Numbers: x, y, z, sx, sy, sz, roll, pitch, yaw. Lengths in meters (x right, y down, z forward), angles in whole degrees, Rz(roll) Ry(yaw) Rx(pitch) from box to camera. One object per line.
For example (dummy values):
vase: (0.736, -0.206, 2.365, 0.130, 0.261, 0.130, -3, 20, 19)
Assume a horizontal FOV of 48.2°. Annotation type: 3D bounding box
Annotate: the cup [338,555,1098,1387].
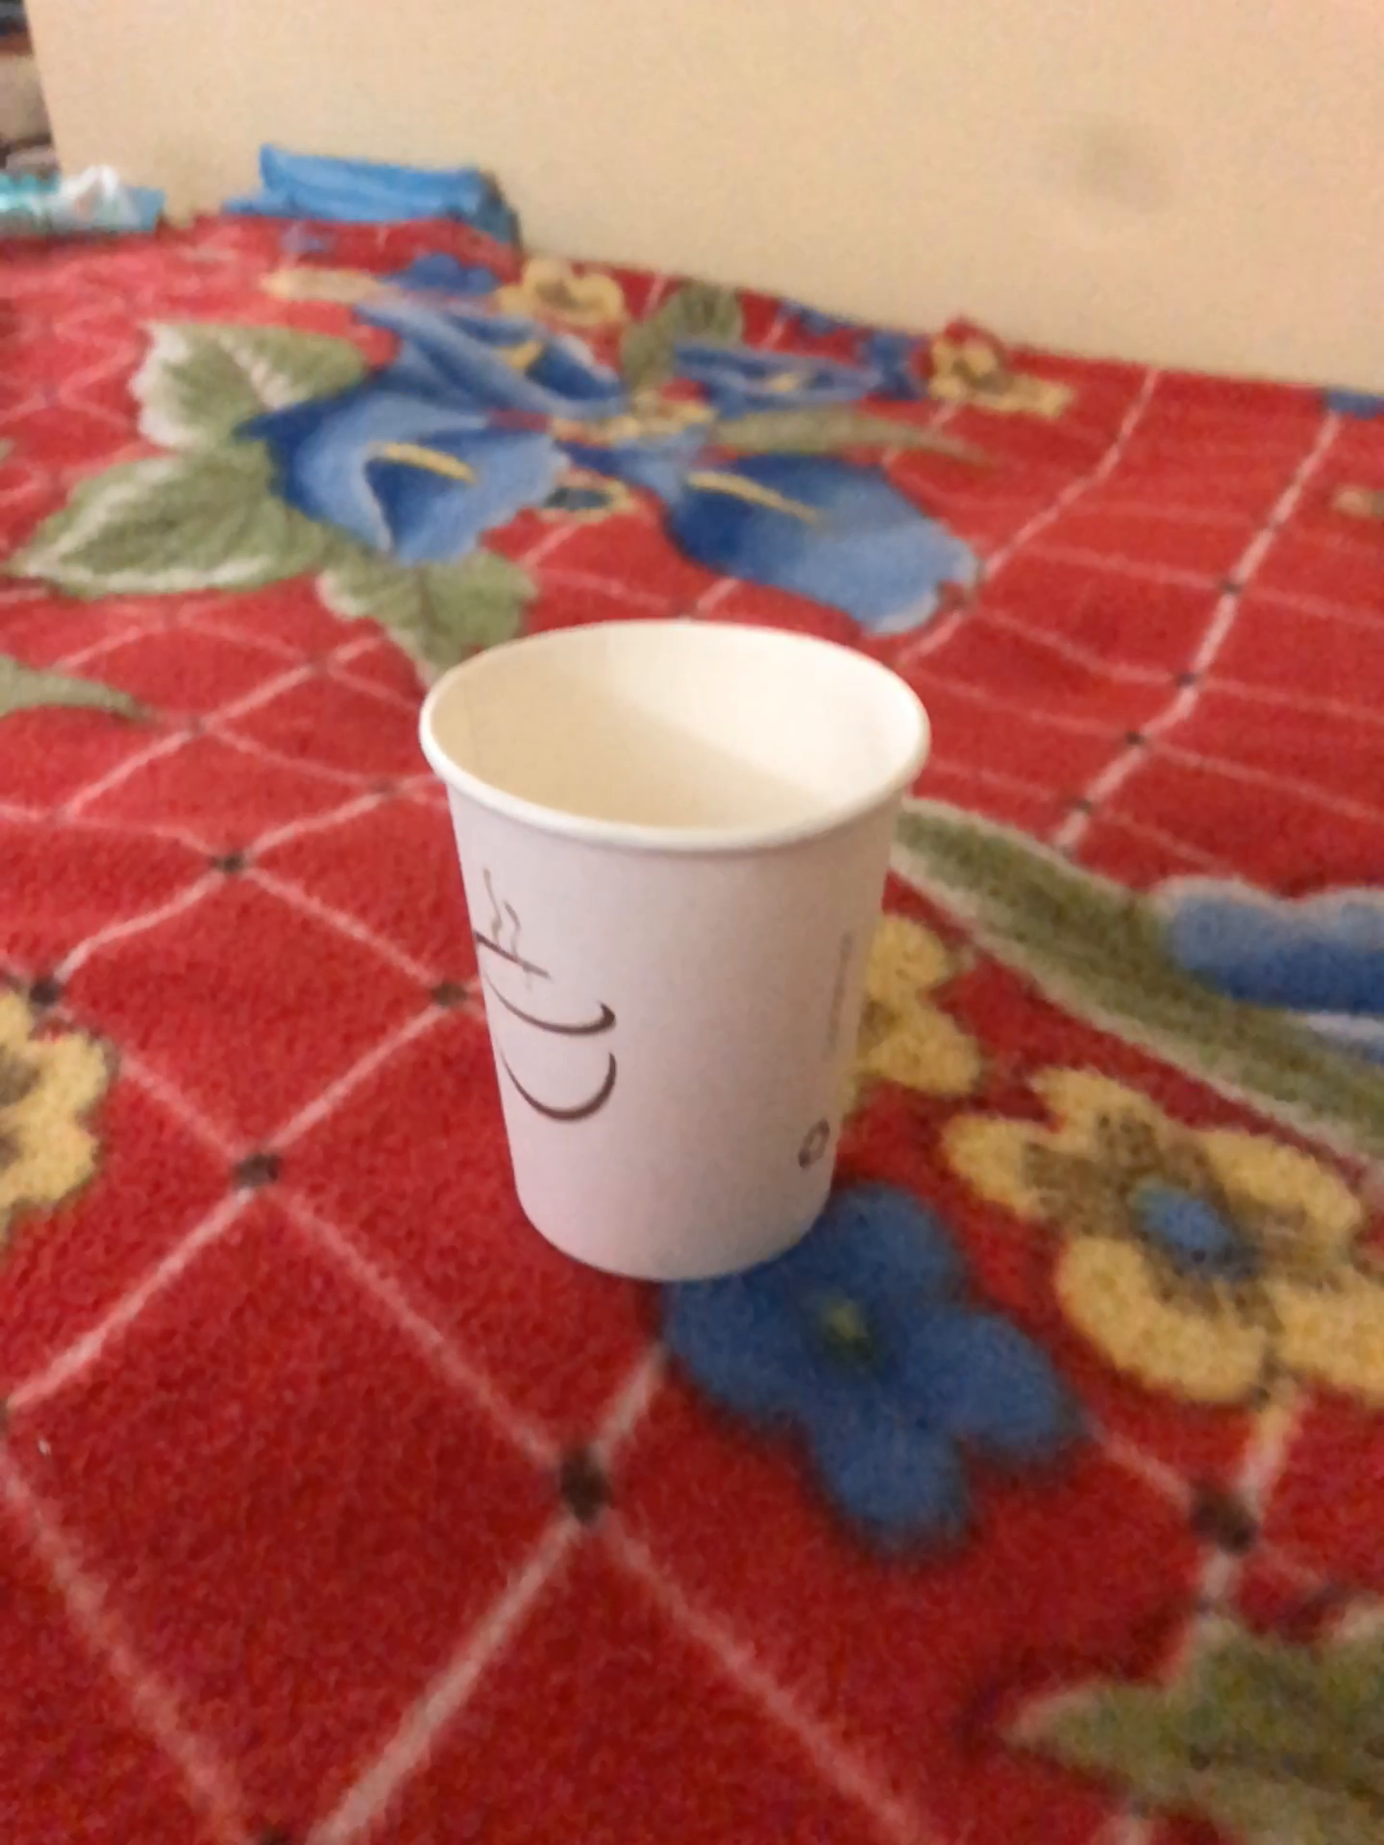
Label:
cup: (0.002, 0.001, 0.266, 0.080, 0.090, 0.090, -23, 39, -30)
